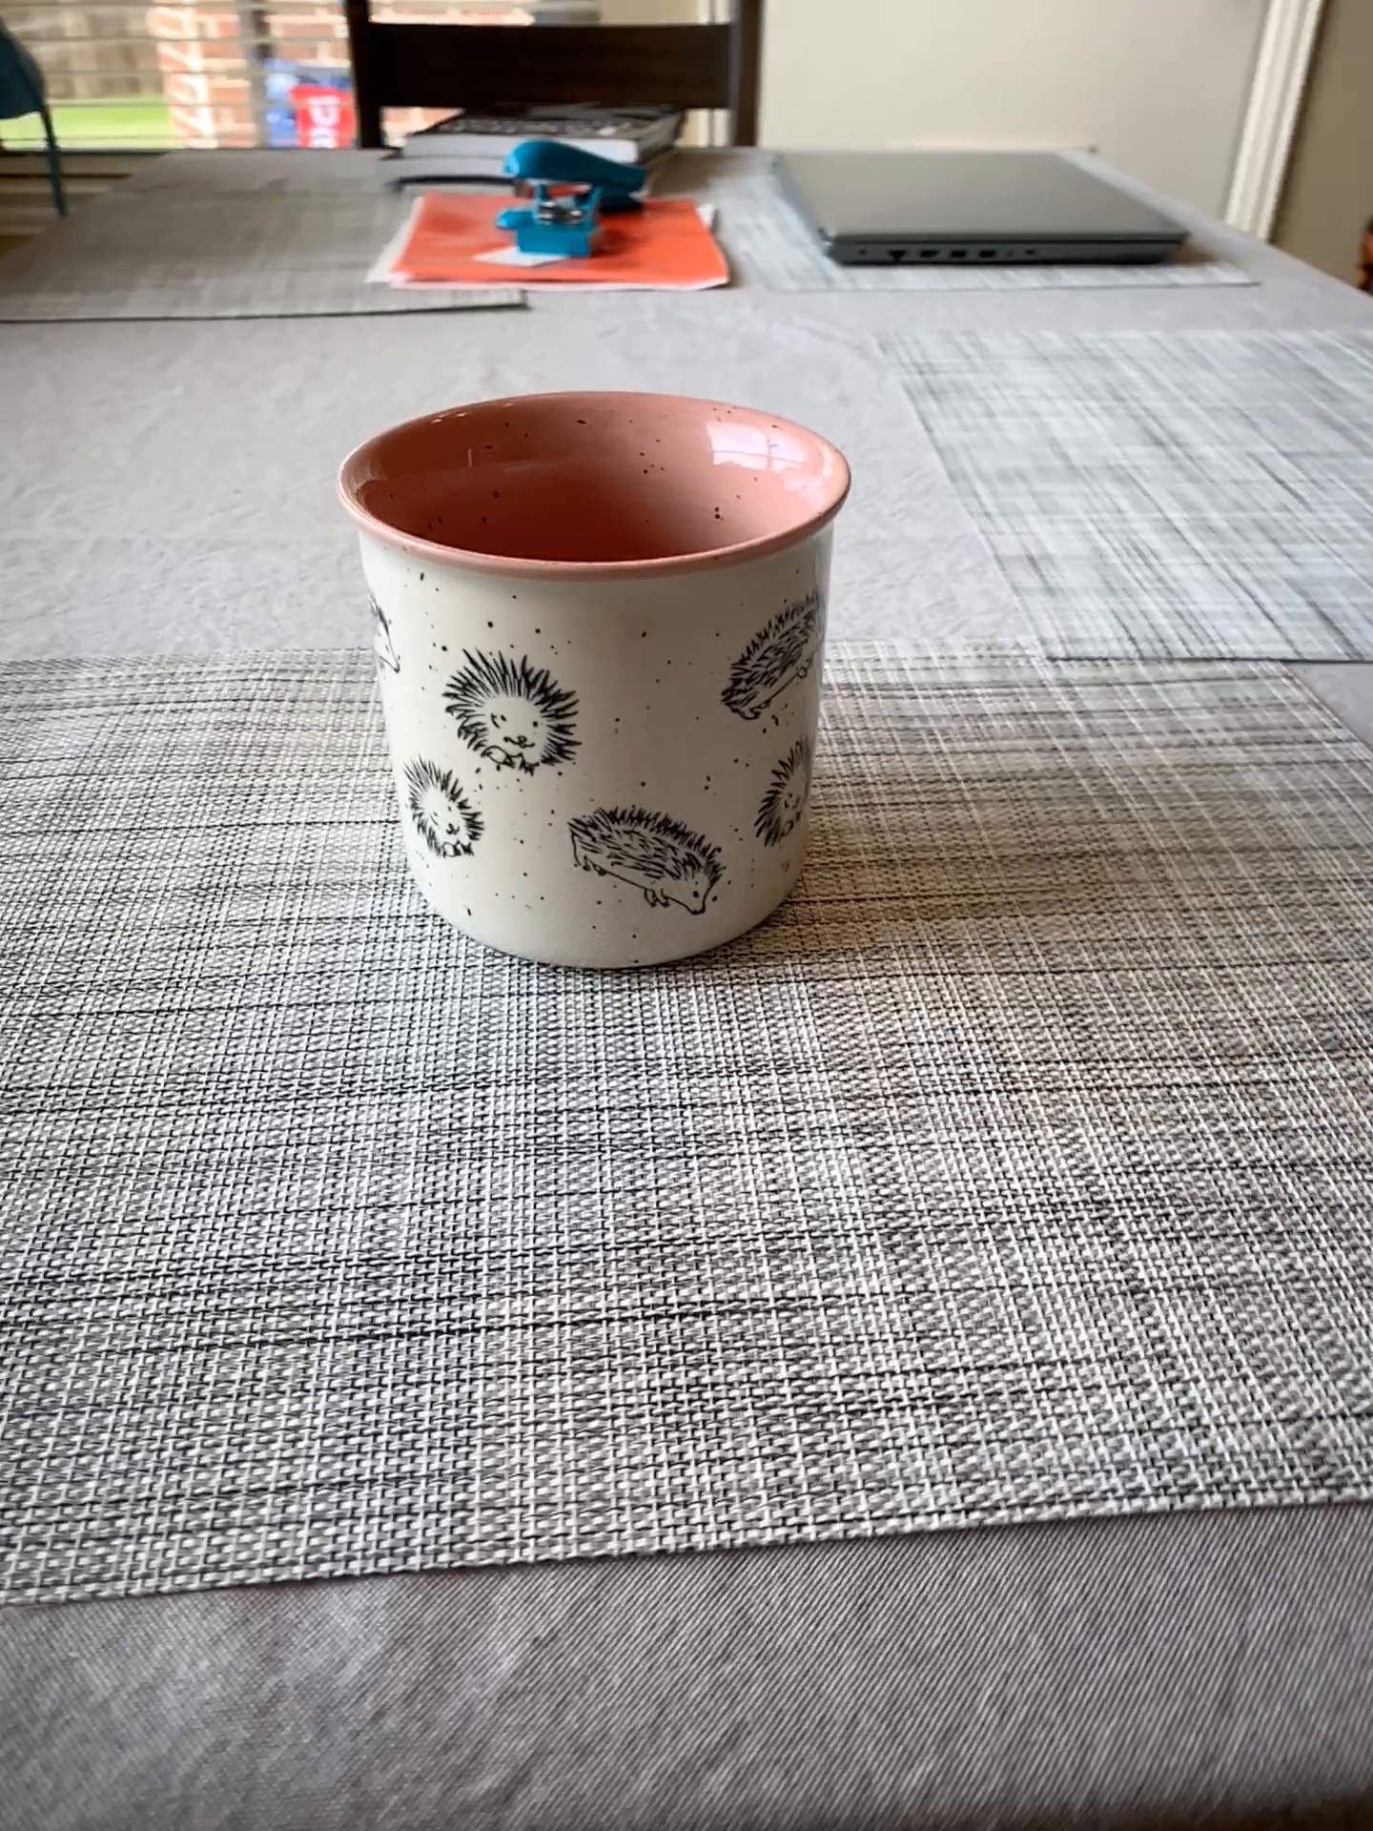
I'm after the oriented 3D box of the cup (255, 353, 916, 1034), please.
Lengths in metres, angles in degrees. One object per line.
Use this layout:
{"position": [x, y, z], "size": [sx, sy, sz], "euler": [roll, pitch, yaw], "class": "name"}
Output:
{"position": [-0.016, -0.062, 0.350], "size": [0.120, 0.106, 0.151], "euler": [2, 36, 2], "class": "cup"}
